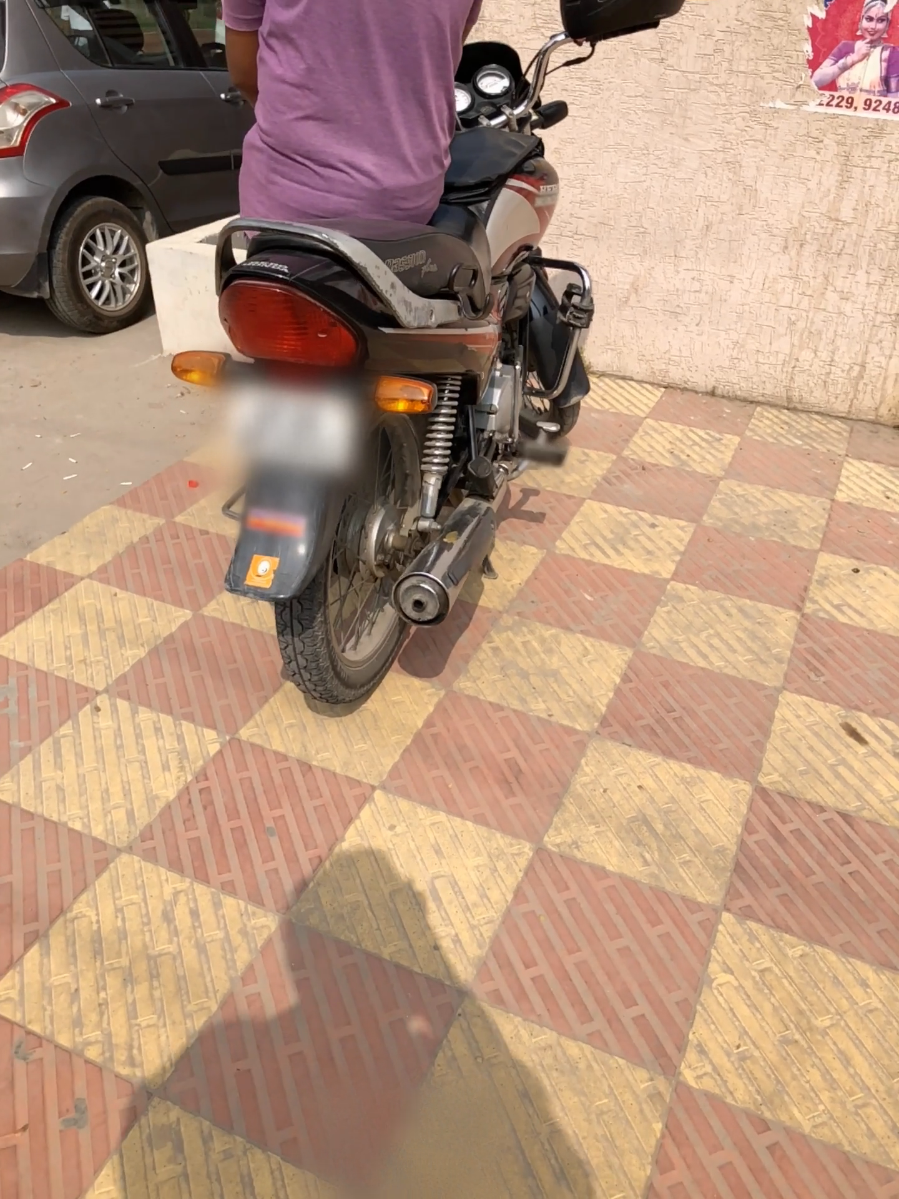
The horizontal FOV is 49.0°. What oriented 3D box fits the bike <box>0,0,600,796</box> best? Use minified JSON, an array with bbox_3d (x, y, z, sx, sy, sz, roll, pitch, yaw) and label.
[{"bbox_3d":[-0.171,-0.662,2.183,0.891,1.066,1.734,6,34,7],"label":"bike"}]
